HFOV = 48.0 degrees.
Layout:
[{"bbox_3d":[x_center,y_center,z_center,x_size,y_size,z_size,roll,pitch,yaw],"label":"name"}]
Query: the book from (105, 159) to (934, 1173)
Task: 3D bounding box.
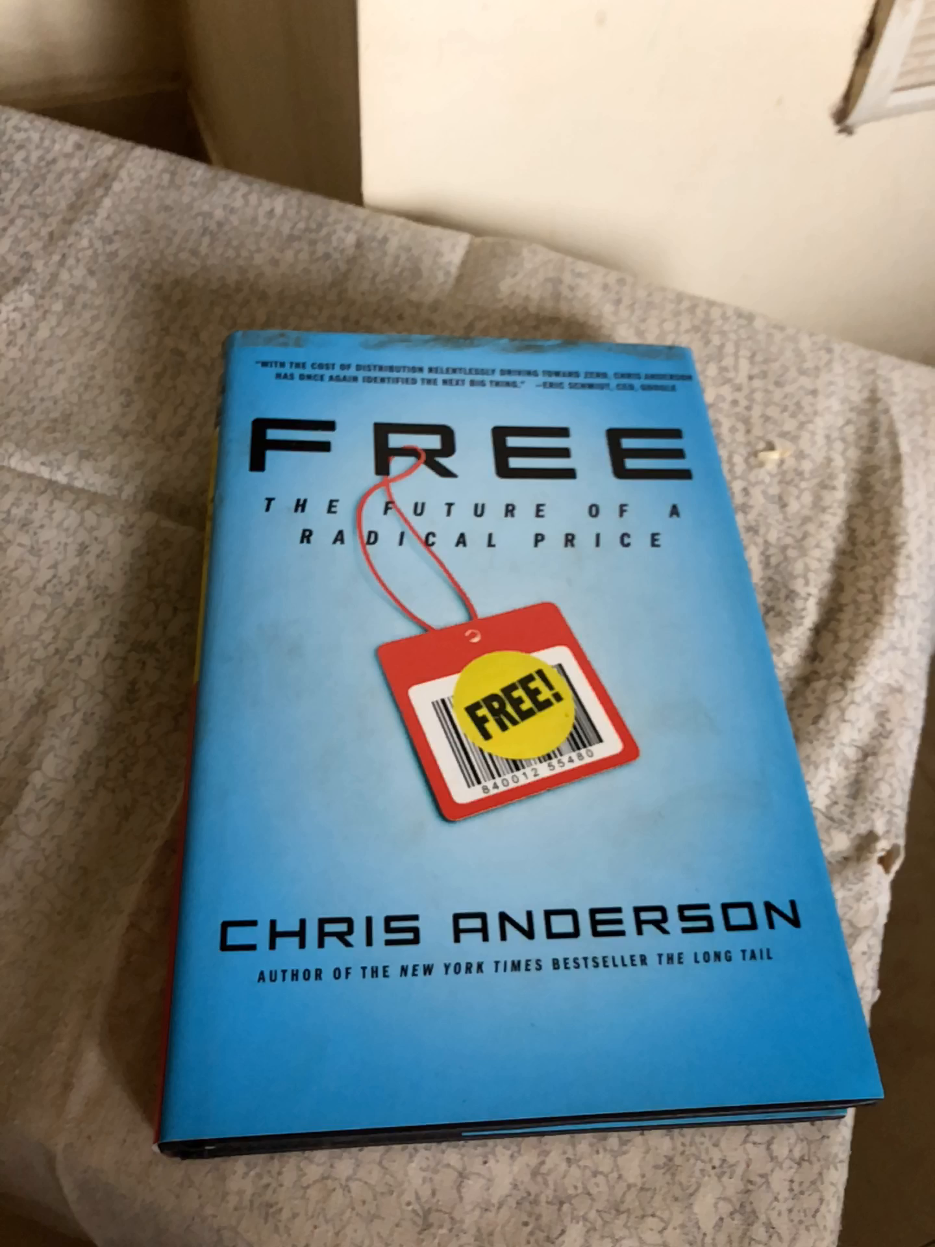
[{"bbox_3d":[0.021,-0.022,0.274,0.180,0.040,0.281,-1,55,-5],"label":"book"}]
